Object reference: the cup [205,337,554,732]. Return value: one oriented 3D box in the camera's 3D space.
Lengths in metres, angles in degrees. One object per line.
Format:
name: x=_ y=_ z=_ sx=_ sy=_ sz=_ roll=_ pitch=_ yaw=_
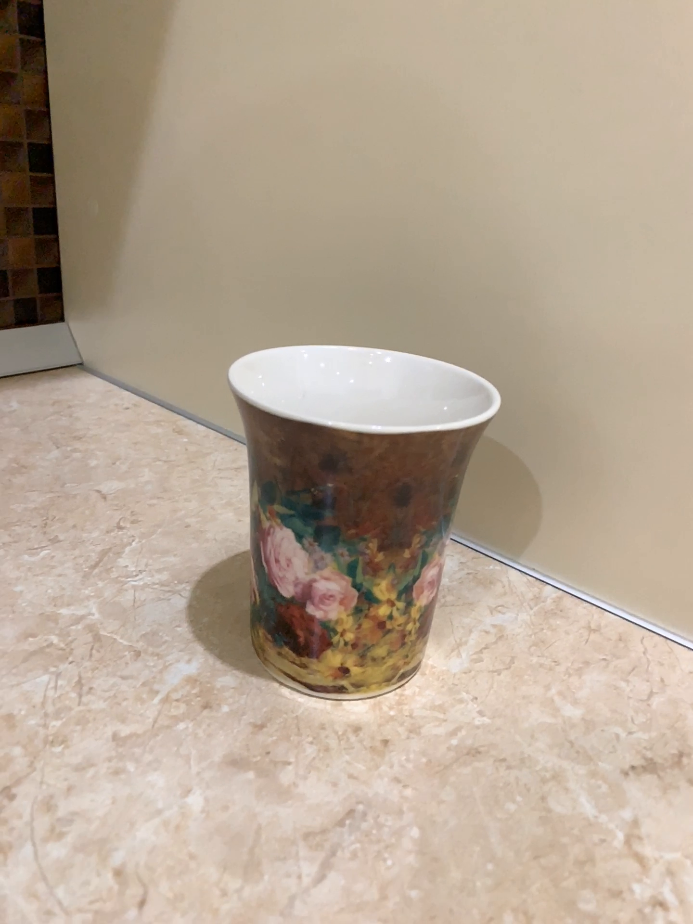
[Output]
cup: x=-0.001 y=0.018 z=0.254 sx=0.094 sy=0.096 sz=0.102 roll=4 pitch=23 yaw=-2
